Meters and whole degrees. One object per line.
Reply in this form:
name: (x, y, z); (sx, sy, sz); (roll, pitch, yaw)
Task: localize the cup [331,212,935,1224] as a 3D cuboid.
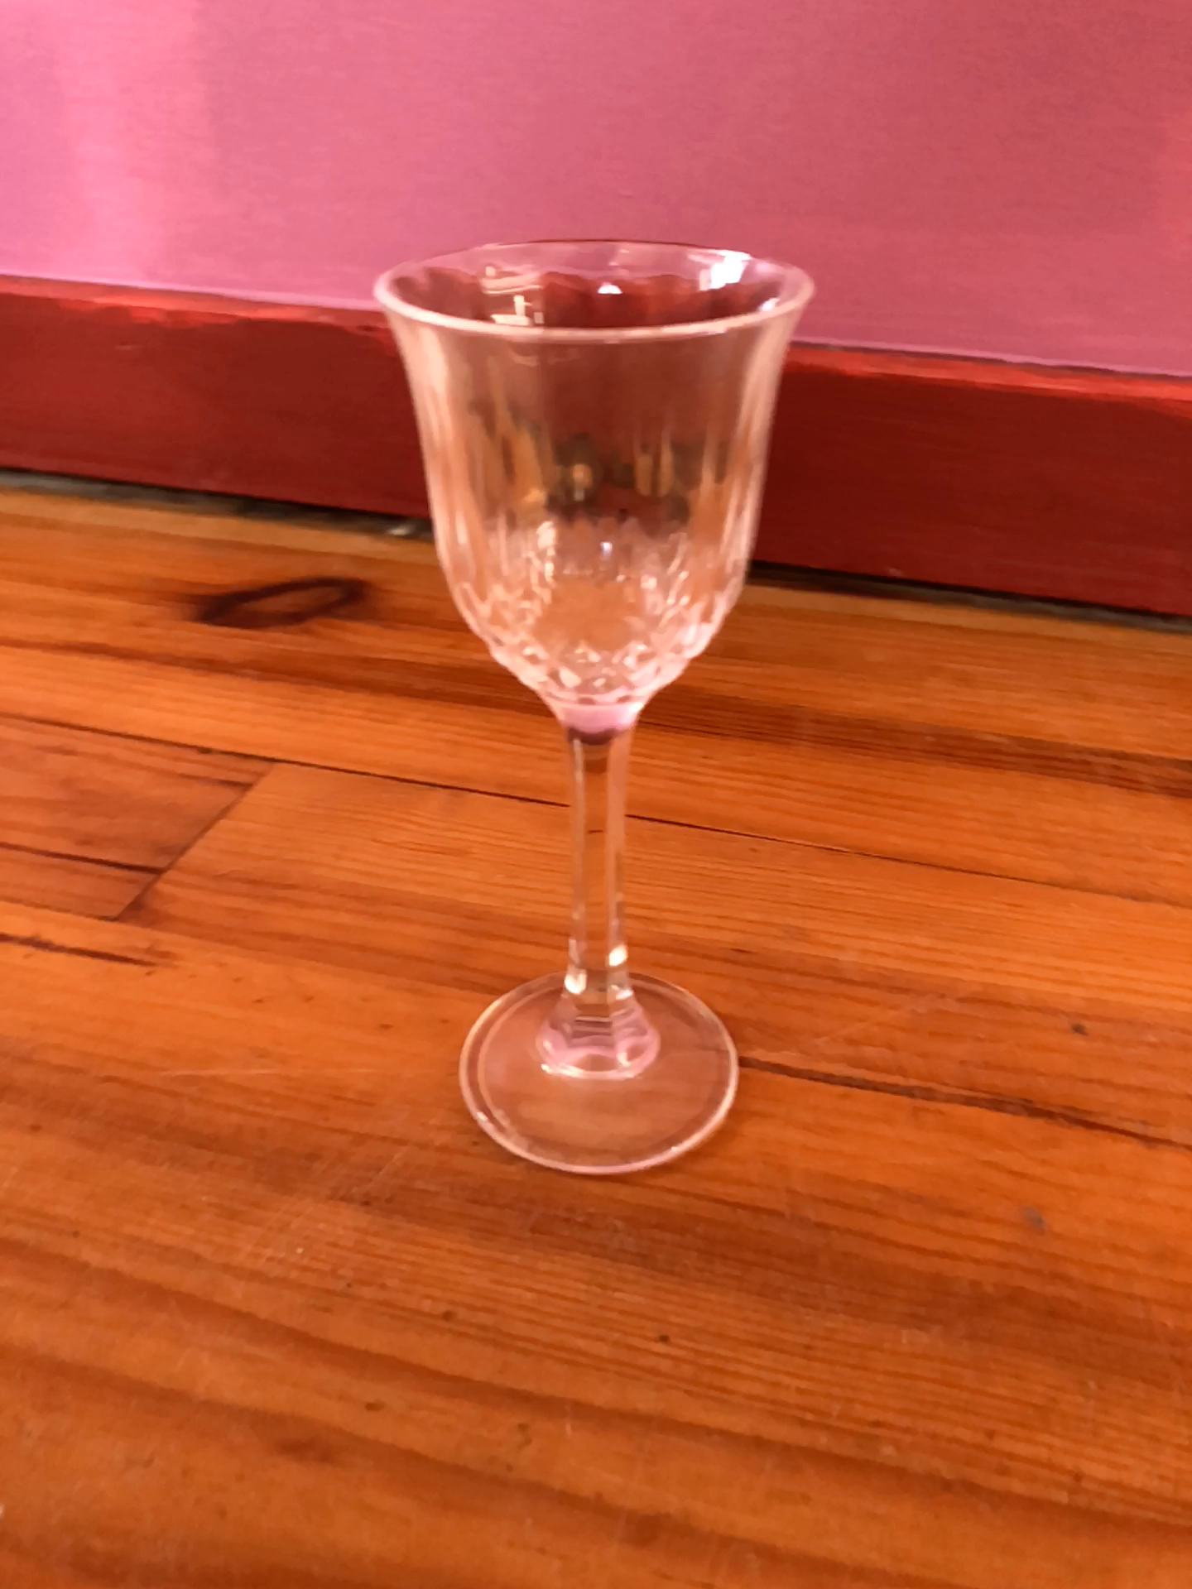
cup: (0.000, -0.010, 0.197); (0.060, 0.133, 0.058); (1, 32, 0)
